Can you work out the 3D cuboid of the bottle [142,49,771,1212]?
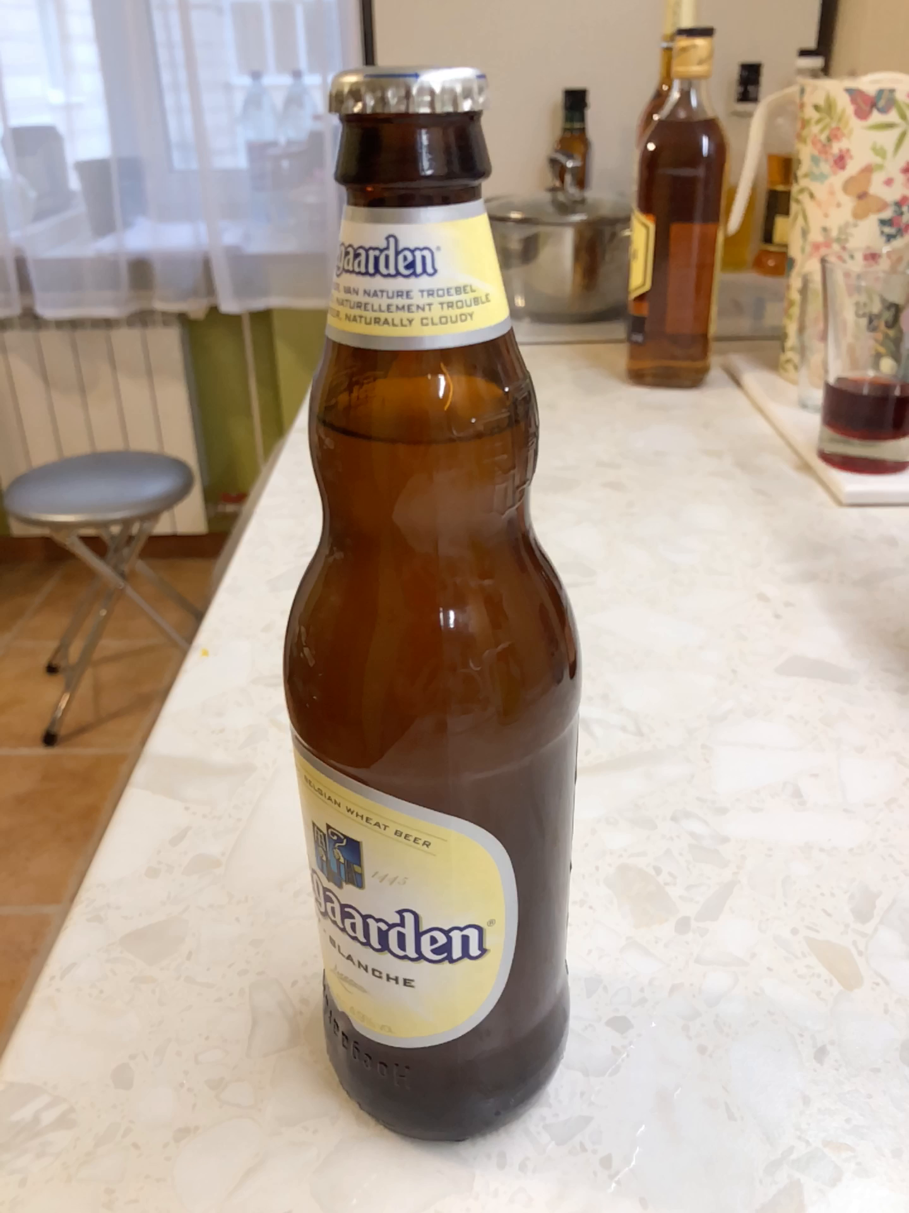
[{"bbox_3d":[0.002,0.017,0.228,0.080,0.248,0.070,-22,34,-34],"label":"bottle"}]
